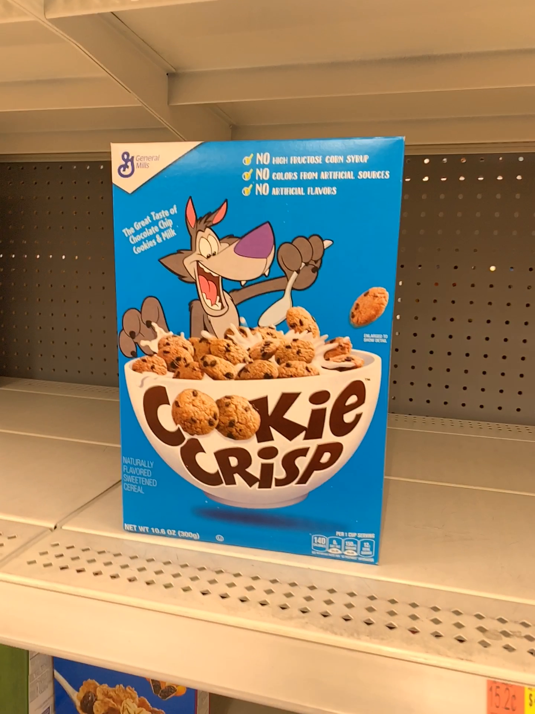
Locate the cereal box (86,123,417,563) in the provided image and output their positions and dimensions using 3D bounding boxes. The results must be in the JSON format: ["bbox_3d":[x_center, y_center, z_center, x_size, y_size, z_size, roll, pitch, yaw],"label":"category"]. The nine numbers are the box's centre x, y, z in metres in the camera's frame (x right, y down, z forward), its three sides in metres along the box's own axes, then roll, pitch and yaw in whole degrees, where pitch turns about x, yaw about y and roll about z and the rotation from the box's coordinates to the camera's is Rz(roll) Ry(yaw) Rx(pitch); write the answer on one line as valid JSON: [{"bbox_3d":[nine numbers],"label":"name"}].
[{"bbox_3d":[-0.014,-0.009,0.389,0.210,0.279,0.050,3,11,11],"label":"cereal box"}]
